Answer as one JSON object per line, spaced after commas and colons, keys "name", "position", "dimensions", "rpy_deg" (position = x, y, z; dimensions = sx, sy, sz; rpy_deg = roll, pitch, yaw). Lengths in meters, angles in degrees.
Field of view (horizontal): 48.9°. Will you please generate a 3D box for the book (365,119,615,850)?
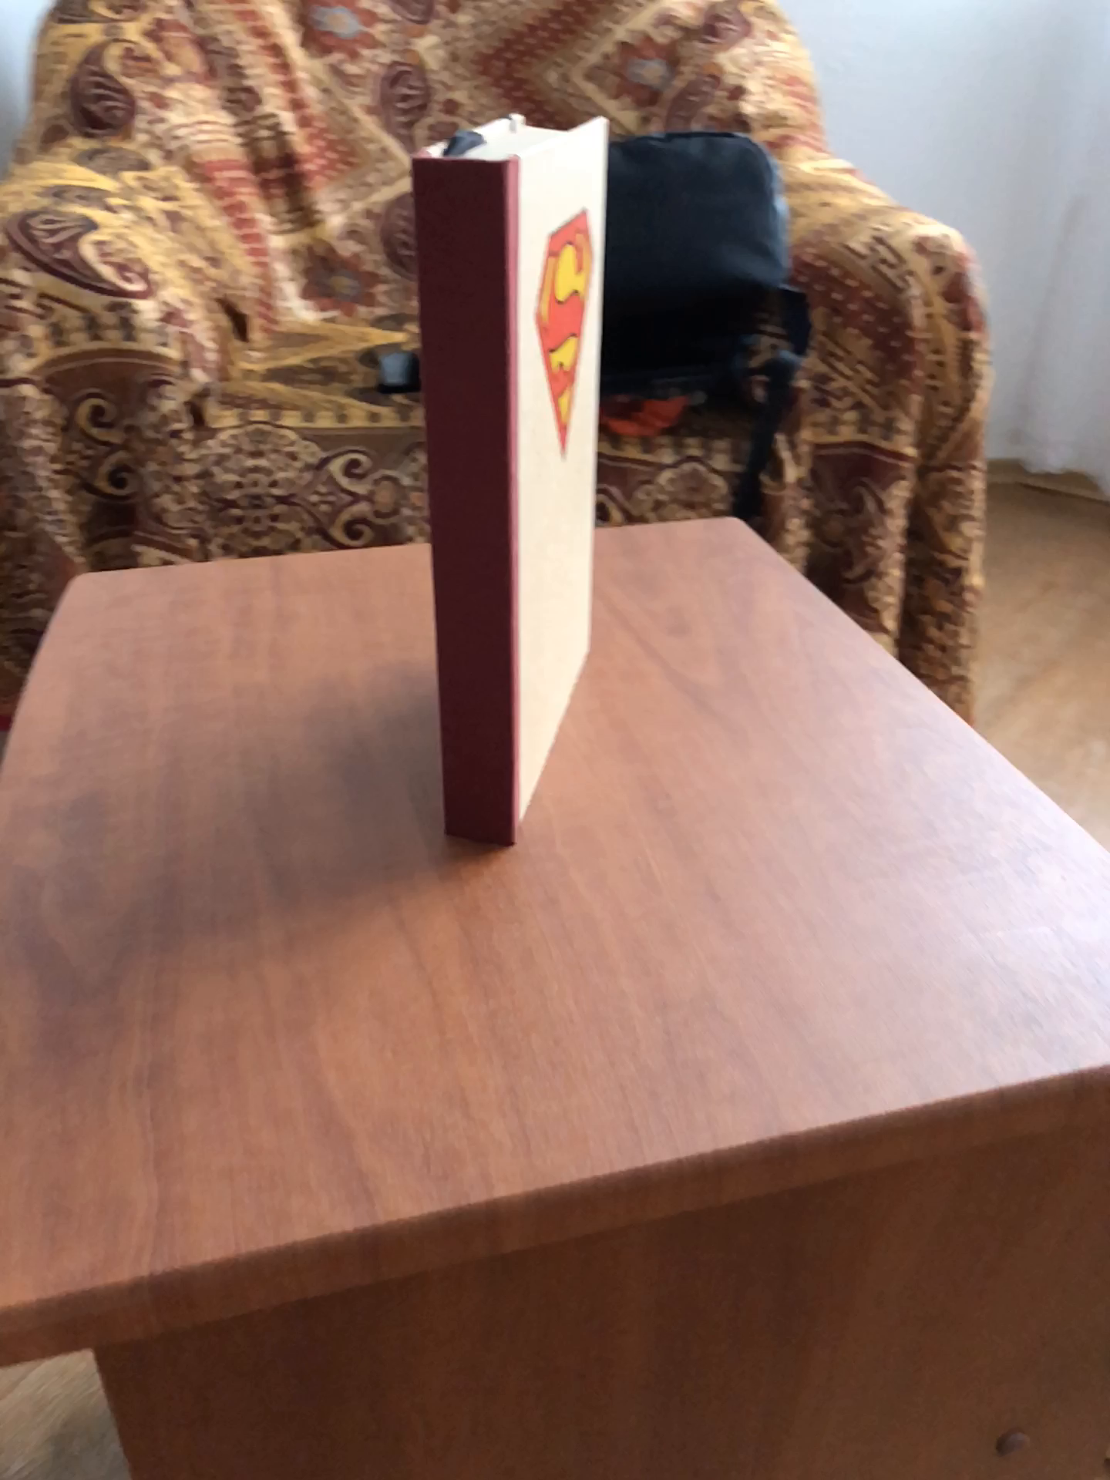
{"name": "book", "position": [-0.013, -0.095, 0.422], "dimensions": [0.041, 0.203, 0.163], "rpy_deg": [5, 31, 9]}
